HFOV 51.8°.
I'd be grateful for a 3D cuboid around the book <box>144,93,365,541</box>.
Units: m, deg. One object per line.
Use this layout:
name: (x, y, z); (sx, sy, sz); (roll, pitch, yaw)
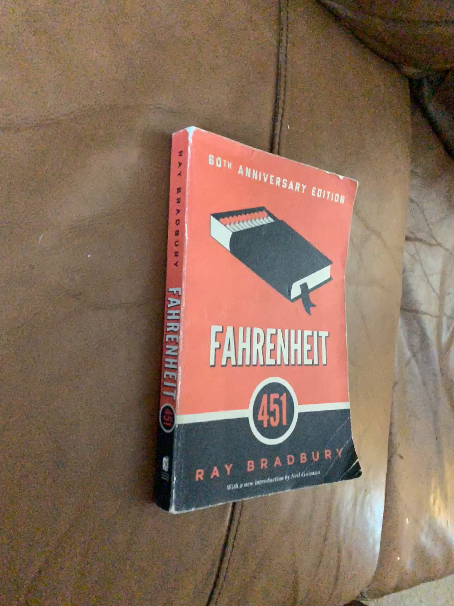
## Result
book: (0.025, 0.008, 0.294); (0.151, 0.040, 0.220); (4, 84, -42)
